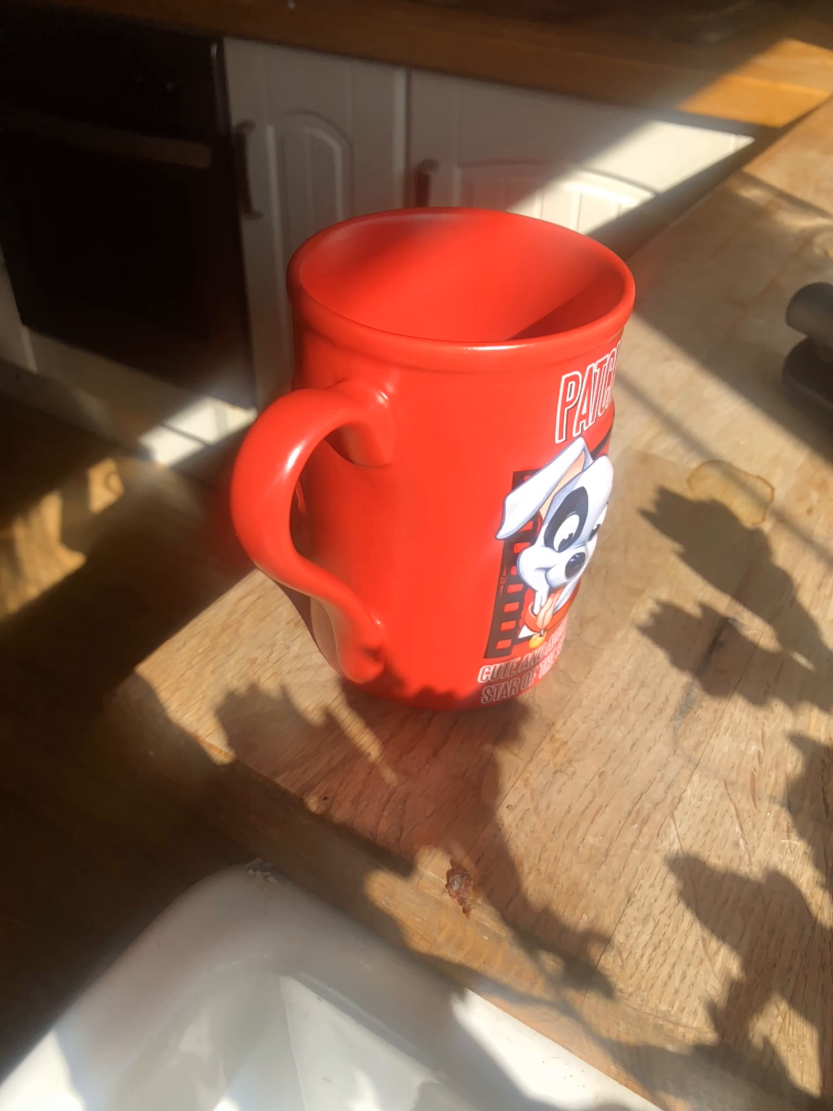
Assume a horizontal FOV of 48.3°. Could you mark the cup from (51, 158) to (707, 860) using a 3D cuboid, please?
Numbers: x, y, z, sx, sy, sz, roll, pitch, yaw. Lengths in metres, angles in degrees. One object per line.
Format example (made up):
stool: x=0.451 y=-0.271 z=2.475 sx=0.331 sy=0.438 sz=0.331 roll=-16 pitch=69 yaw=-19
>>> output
cup: x=-0.003 y=-0.022 z=0.257 sx=0.095 sy=0.119 sz=0.132 roll=26 pitch=46 yaw=25
